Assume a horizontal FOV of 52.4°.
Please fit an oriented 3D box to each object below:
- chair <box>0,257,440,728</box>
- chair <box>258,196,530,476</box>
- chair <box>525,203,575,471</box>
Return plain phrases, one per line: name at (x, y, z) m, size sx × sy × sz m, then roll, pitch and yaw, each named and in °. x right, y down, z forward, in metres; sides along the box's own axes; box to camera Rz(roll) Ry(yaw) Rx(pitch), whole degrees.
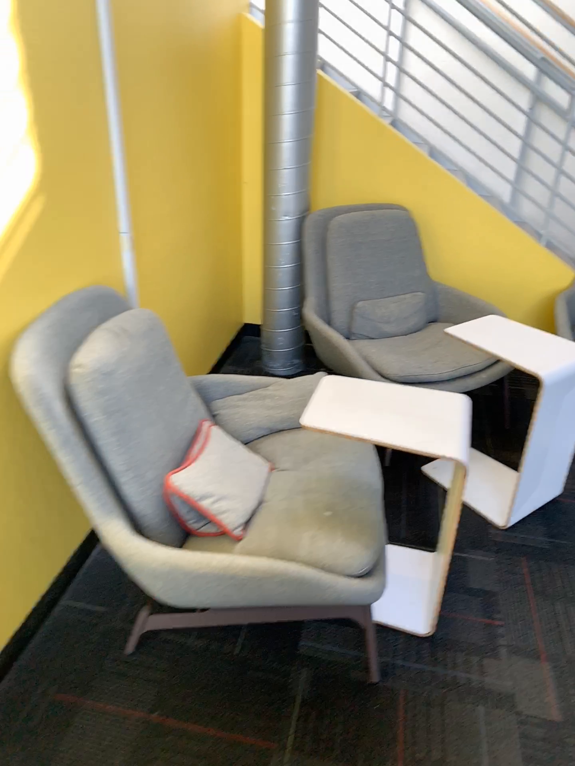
chair at (-0.144, 0.225, 1.580) m, size 0.870 × 0.925 × 0.805 m, roll 1°, pitch 27°, yaw 4°
chair at (0.458, -0.308, 2.877) m, size 0.890 × 1.014 × 0.844 m, roll -14°, pitch 29°, yaw -26°
chair at (1.735, -0.301, 2.850) m, size 0.872 × 0.945 × 0.883 m, roll 12°, pitch 26°, yaw 20°
